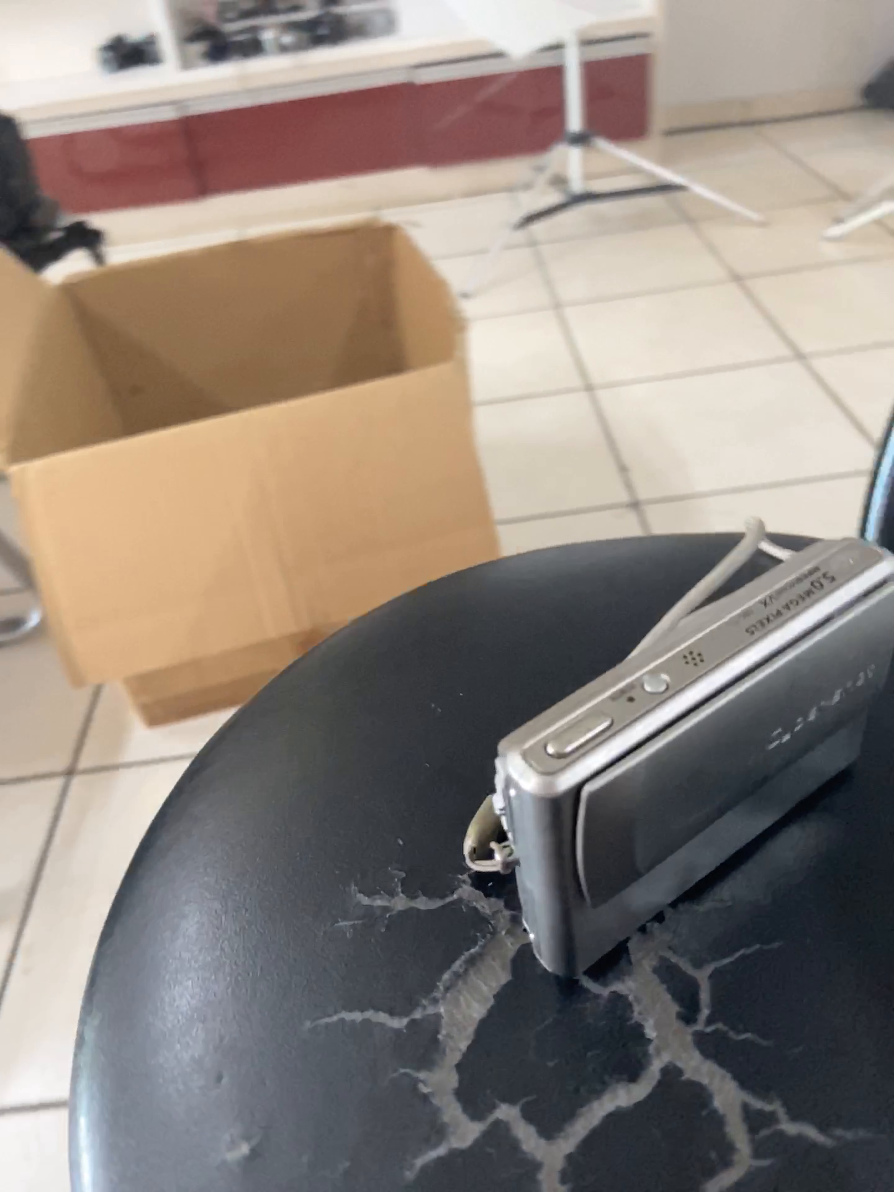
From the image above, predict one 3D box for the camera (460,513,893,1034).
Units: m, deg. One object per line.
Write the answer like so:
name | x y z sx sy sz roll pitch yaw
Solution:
camera | 0.055 0.034 0.195 0.100 0.060 0.030 -29 43 -23
